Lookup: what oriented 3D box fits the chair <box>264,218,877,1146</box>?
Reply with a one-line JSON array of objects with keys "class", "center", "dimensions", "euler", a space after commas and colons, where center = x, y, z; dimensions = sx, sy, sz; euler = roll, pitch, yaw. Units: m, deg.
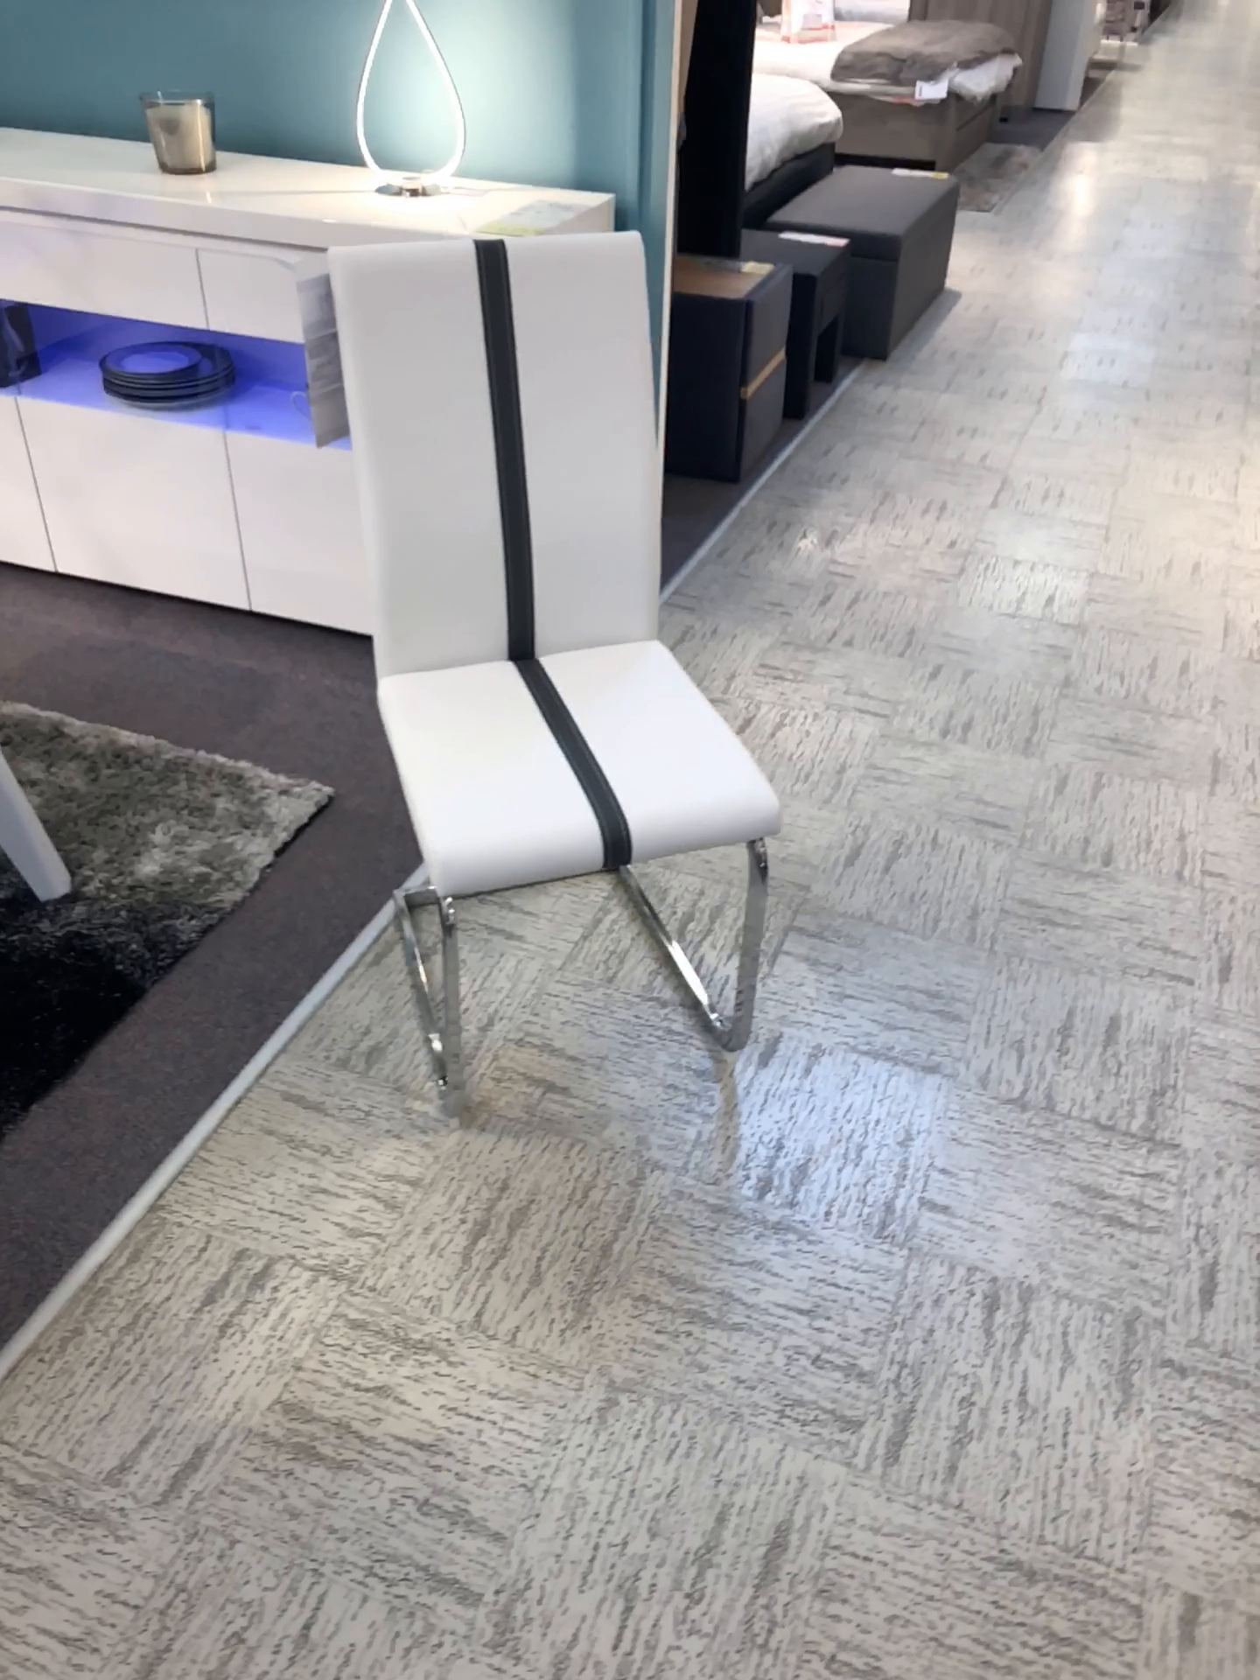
[{"class": "chair", "center": [-0.106, -0.198, 1.640], "dimensions": [0.488, 0.877, 0.572], "euler": [-9, 37, -15]}]
